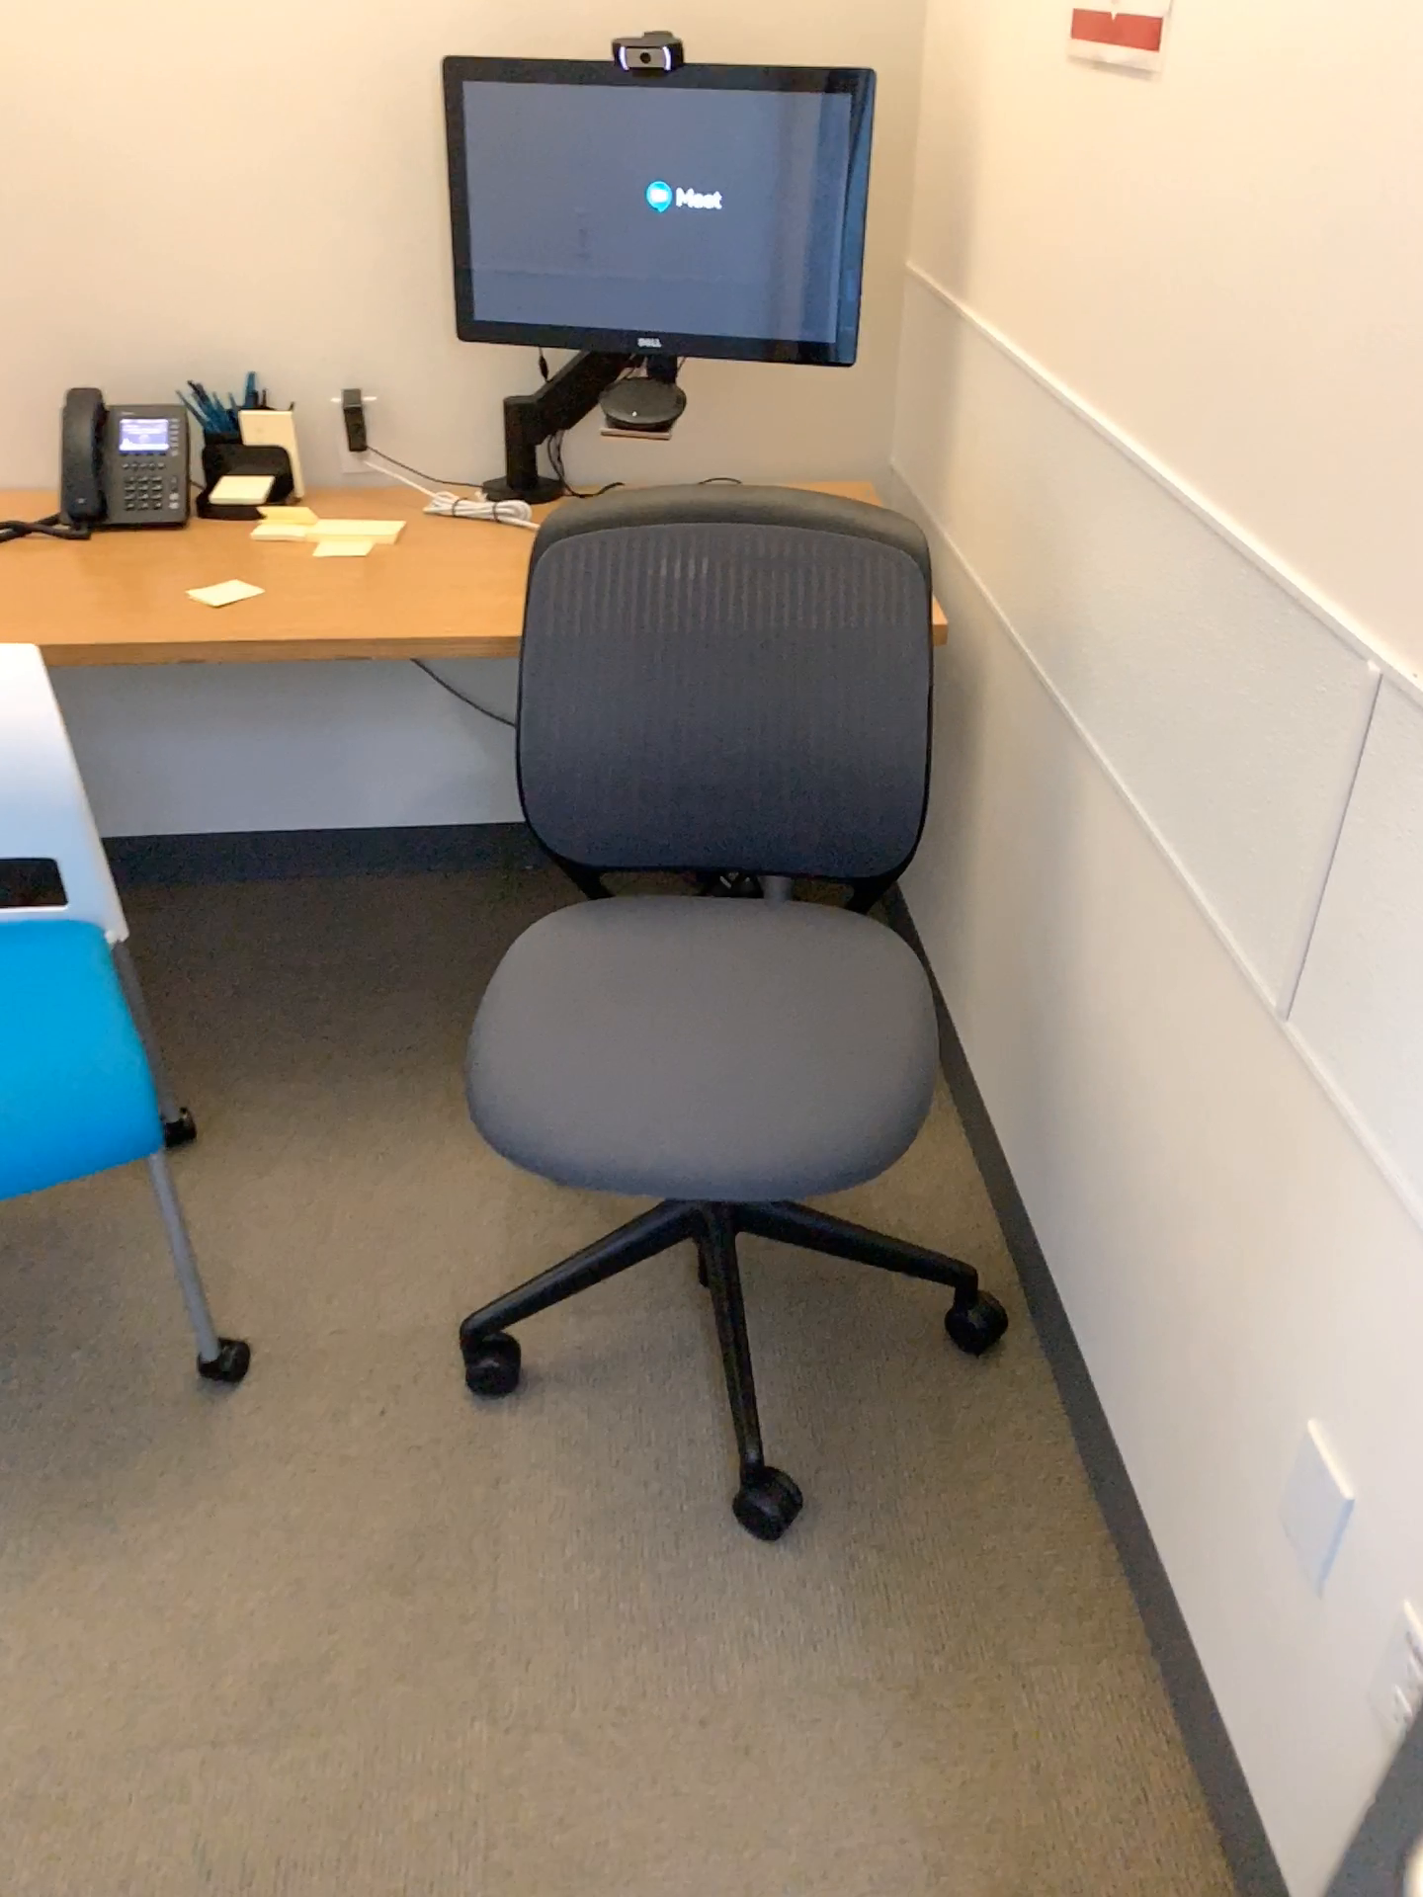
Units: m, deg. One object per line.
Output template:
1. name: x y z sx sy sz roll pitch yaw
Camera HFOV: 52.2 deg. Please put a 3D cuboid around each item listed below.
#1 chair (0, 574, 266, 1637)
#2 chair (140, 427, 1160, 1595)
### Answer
1. chair: -0.867 0.094 1.554 0.530 0.686 0.795 -13 36 -20
2. chair: 0.009 -0.009 1.693 0.750 0.885 0.975 6 34 7
